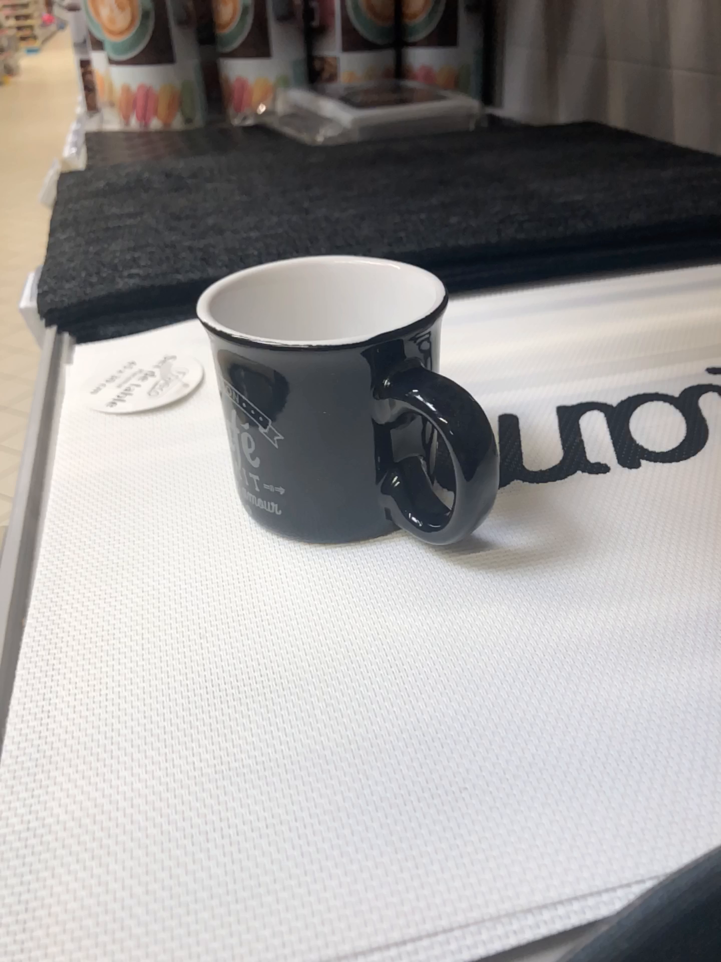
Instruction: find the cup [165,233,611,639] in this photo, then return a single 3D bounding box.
[{"bbox_3d":[0.004,-0.022,0.233,0.075,0.064,0.101,-24,37,-27],"label":"cup"}]
